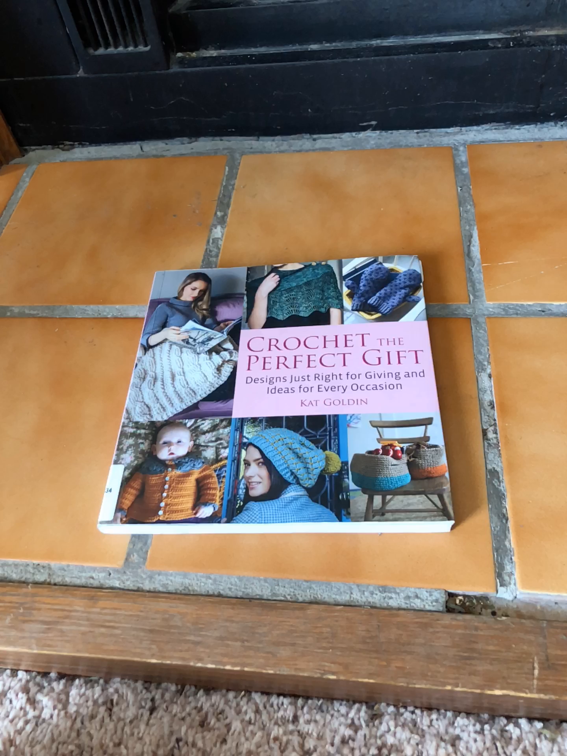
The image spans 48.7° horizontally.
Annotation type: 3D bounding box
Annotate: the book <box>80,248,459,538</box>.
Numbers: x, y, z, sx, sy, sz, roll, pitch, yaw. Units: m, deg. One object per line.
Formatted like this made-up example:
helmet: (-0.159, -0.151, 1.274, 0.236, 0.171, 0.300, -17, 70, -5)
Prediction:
book: (-0.006, 0.000, 0.430, 0.217, 0.020, 0.221, -2, 53, 6)
